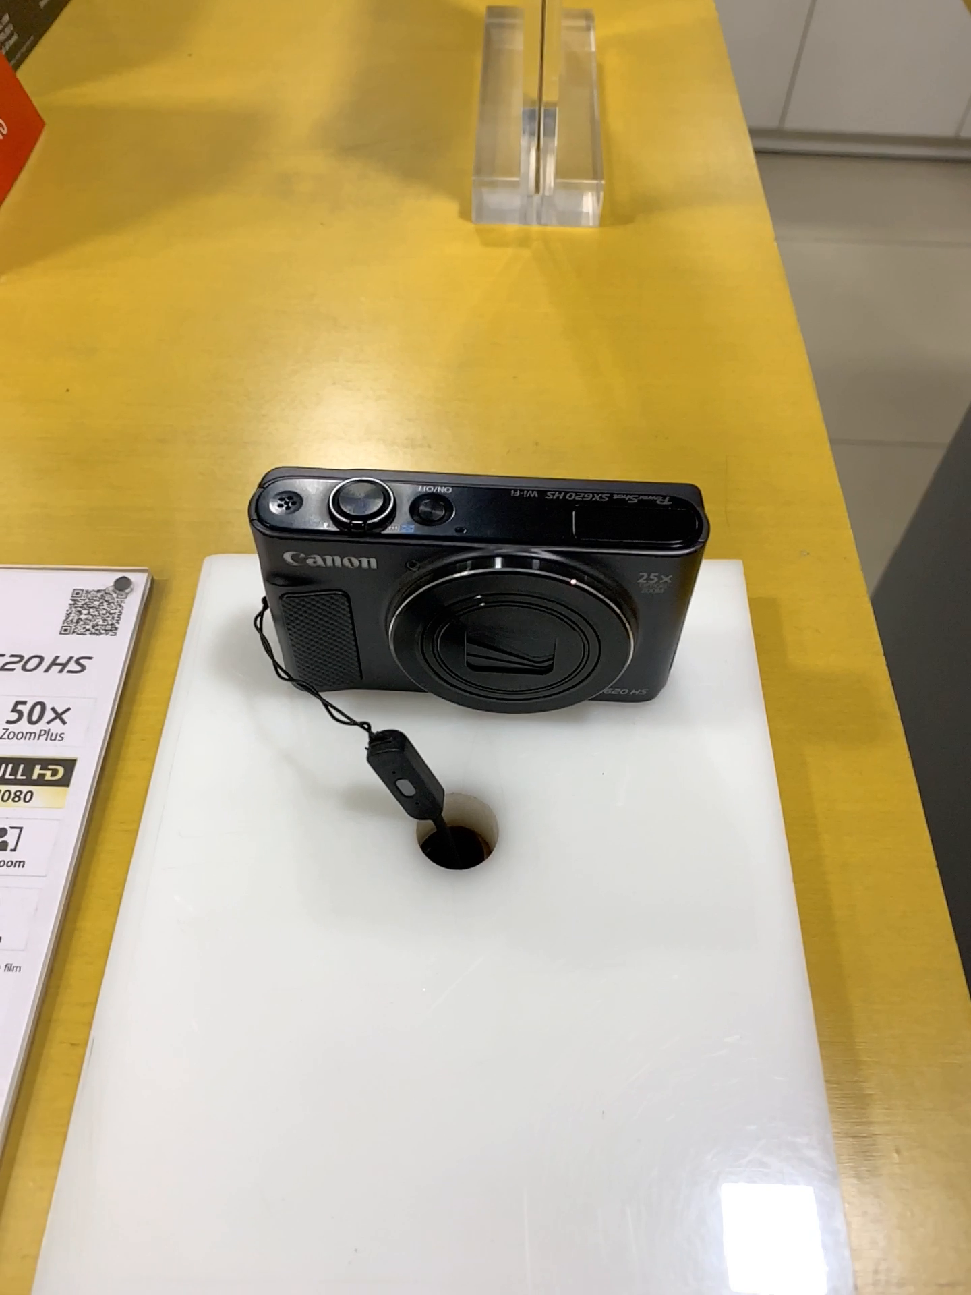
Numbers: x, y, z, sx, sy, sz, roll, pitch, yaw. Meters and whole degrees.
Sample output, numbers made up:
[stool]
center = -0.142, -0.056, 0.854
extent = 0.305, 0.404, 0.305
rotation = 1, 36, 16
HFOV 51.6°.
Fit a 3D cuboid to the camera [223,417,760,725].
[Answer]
[camera]
center = 0.001, -0.015, 0.220
extent = 0.100, 0.060, 0.030
rotation = 3, 54, 1
